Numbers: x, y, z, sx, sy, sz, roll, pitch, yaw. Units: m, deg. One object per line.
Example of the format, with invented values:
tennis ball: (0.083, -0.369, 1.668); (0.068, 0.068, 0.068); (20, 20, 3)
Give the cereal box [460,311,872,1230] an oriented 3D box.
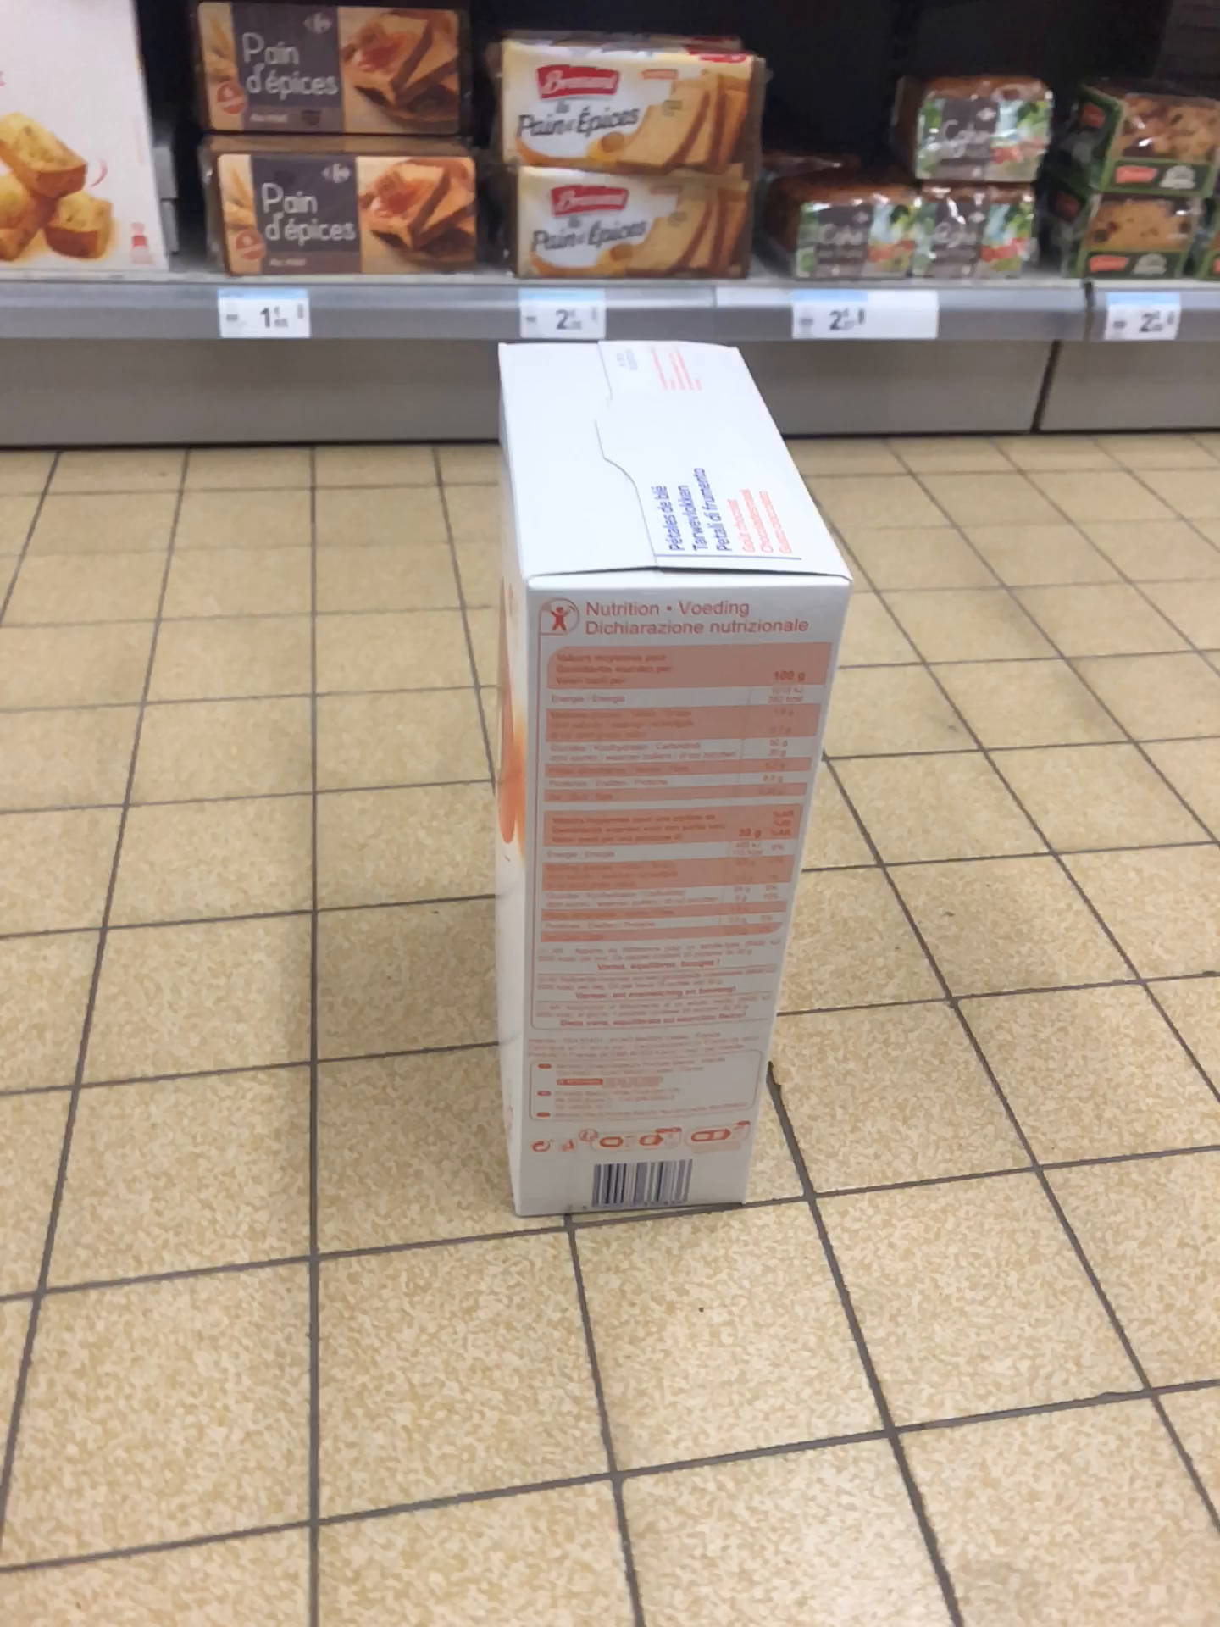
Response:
cereal box: (-0.001, -0.016, 0.522); (0.100, 0.288, 0.201); (-2, 37, -9)
